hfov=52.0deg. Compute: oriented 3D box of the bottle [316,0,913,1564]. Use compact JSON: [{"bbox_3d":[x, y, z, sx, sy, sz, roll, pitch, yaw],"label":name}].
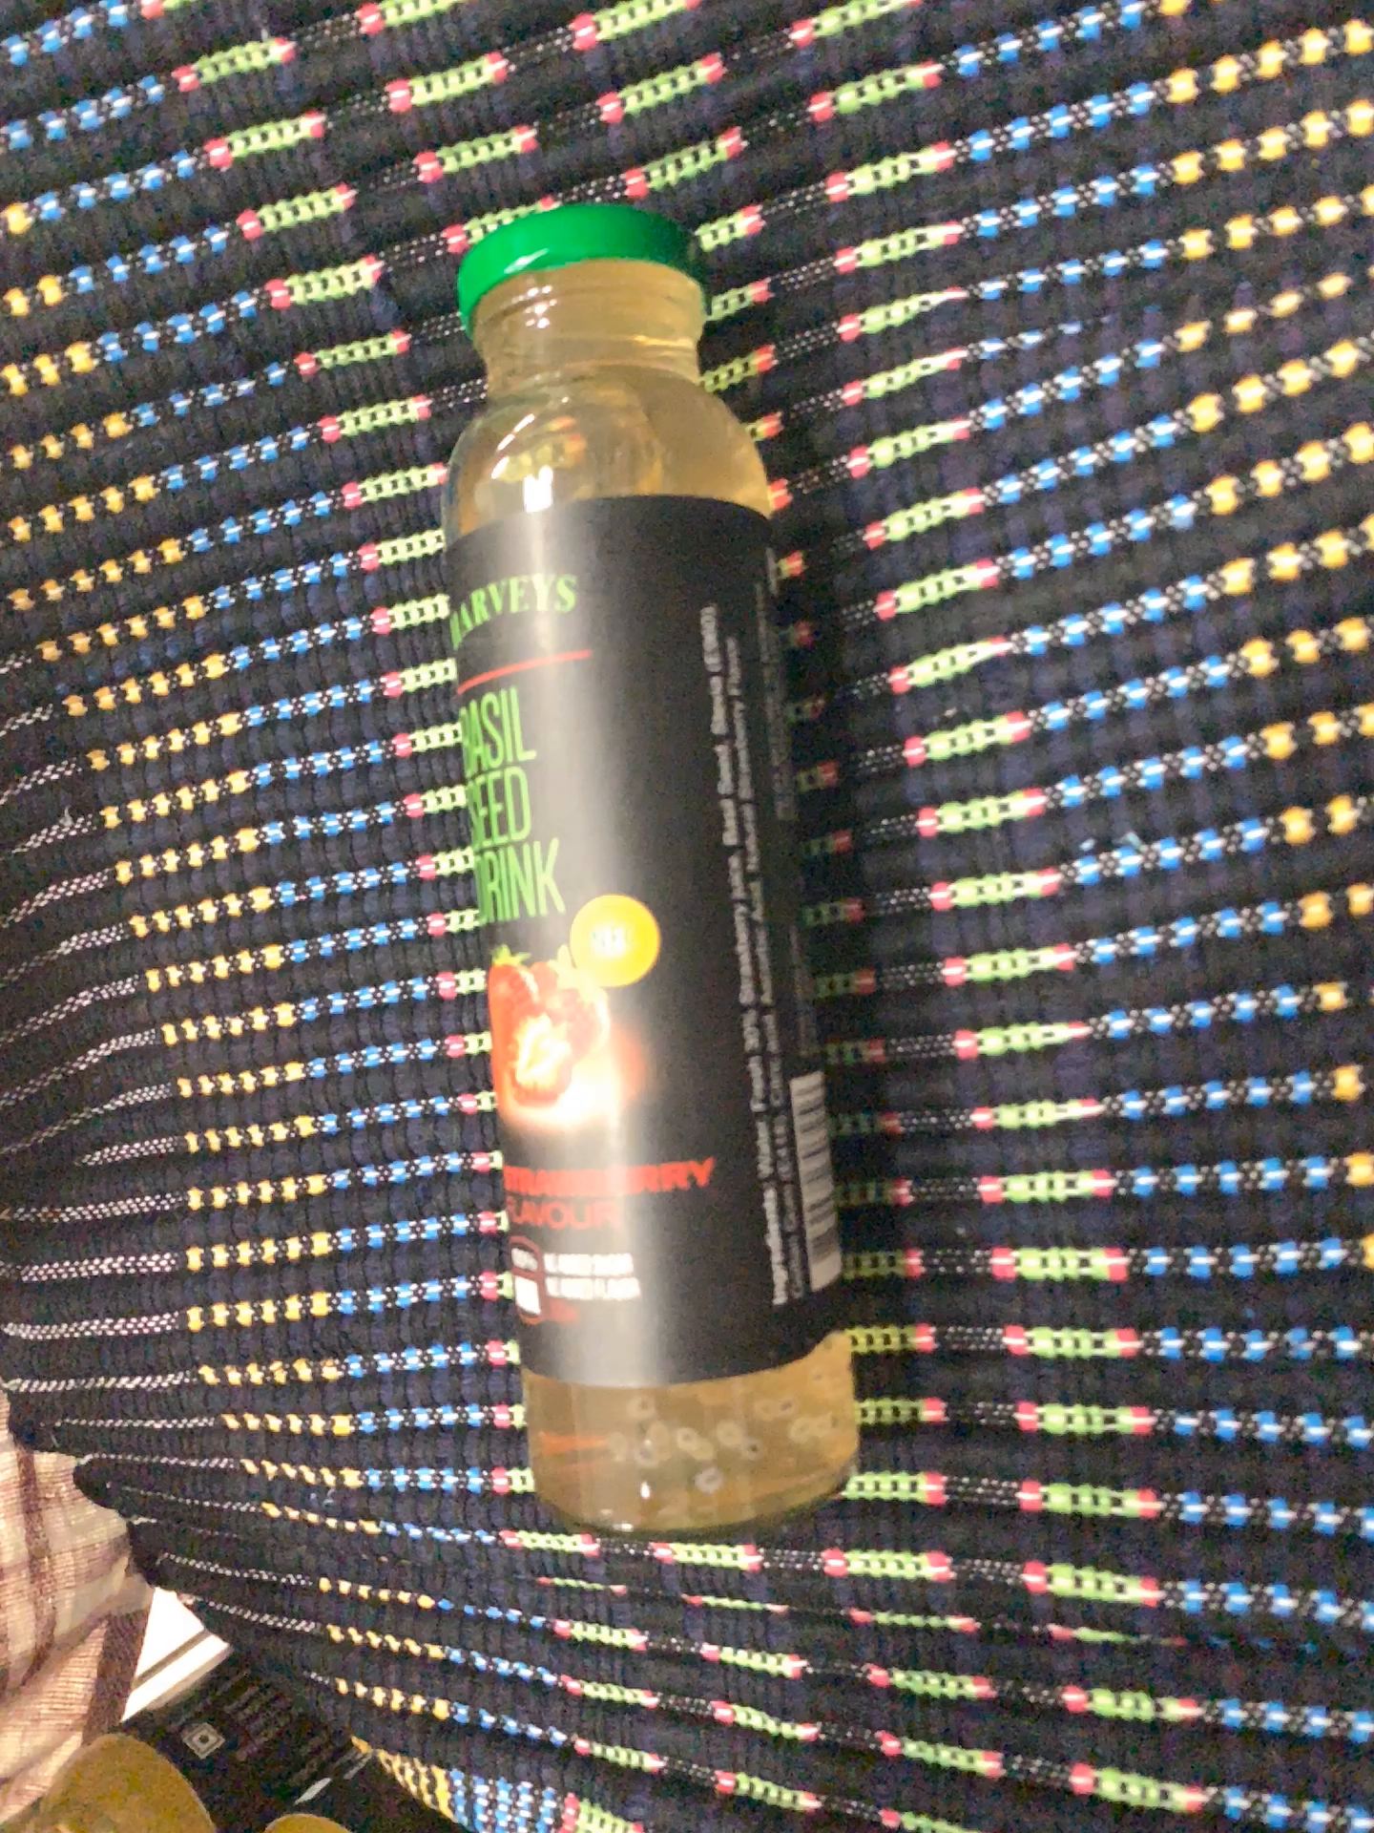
[{"bbox_3d":[-0.016,-0.021,0.236,0.060,0.060,0.220,-11,83,60],"label":"bottle"}]
